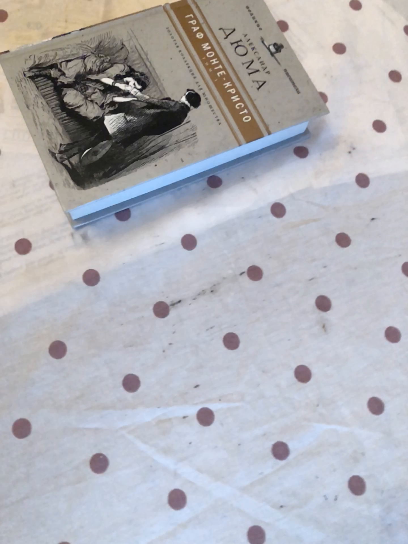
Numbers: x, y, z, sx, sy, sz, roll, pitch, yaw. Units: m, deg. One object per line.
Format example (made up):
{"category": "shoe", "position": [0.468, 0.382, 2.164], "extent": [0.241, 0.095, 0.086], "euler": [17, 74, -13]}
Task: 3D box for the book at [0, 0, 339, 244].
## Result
{"category": "book", "position": [-0.027, -0.126, 0.335], "extent": [0.208, 0.040, 0.135], "euler": [-24, 78, -11]}
